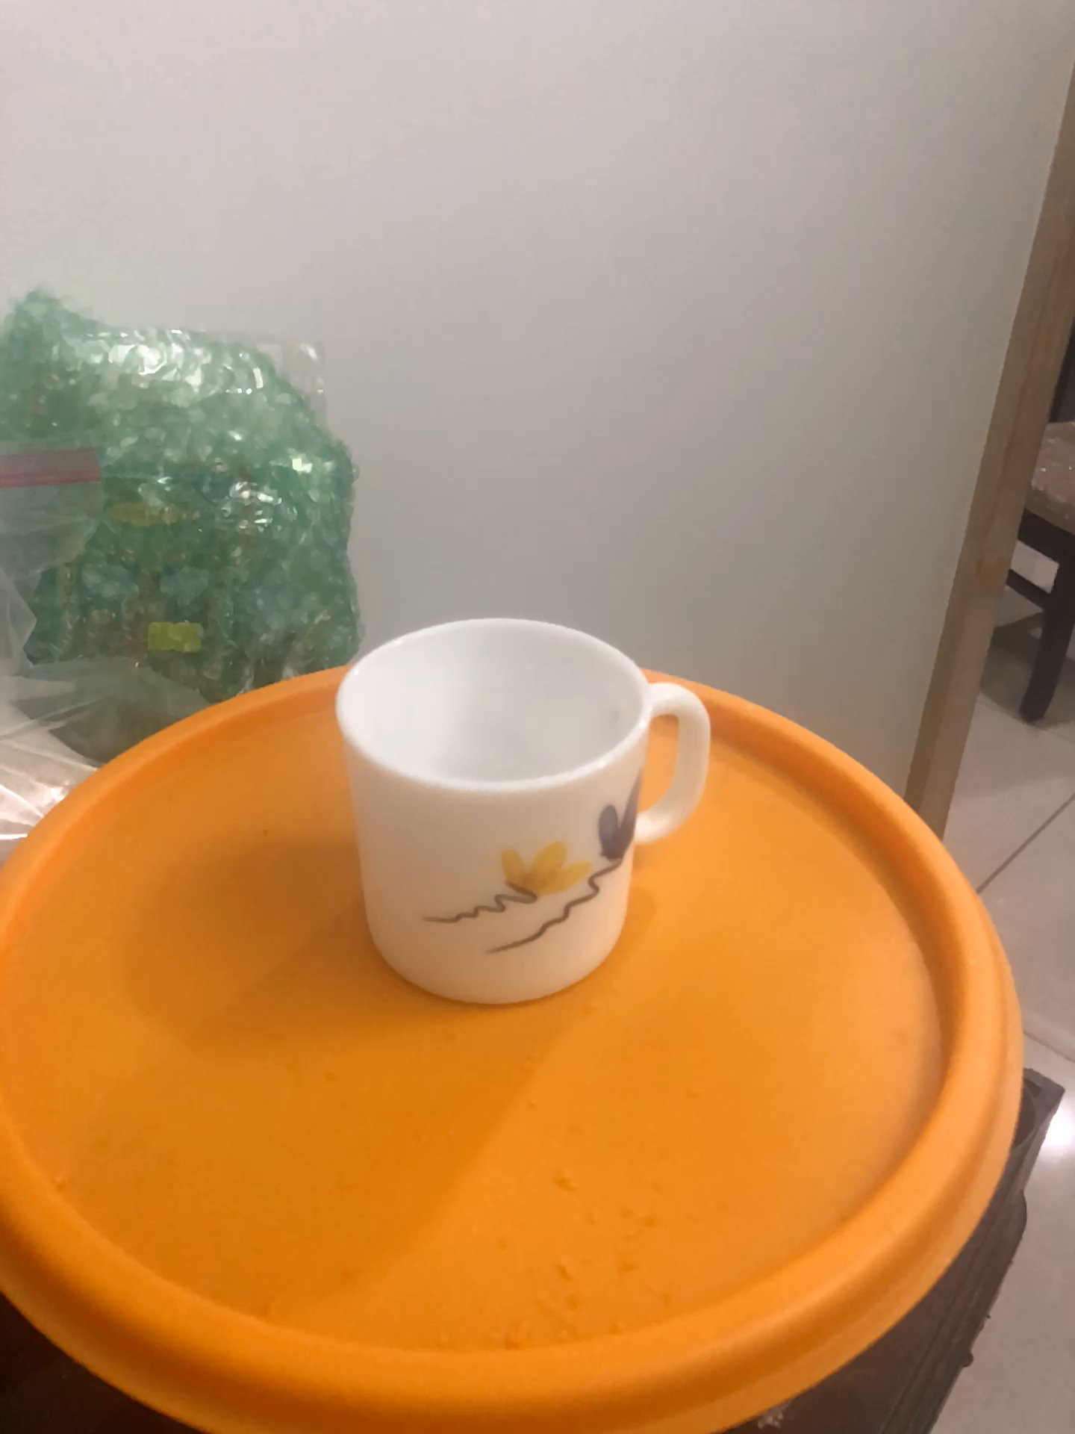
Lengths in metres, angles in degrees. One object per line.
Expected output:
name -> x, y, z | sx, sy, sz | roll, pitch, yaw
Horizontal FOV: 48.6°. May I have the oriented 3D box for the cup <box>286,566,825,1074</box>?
cup -> 0.001, 0.019, 0.297 | 0.100, 0.070, 0.080 | -15, 36, -24
